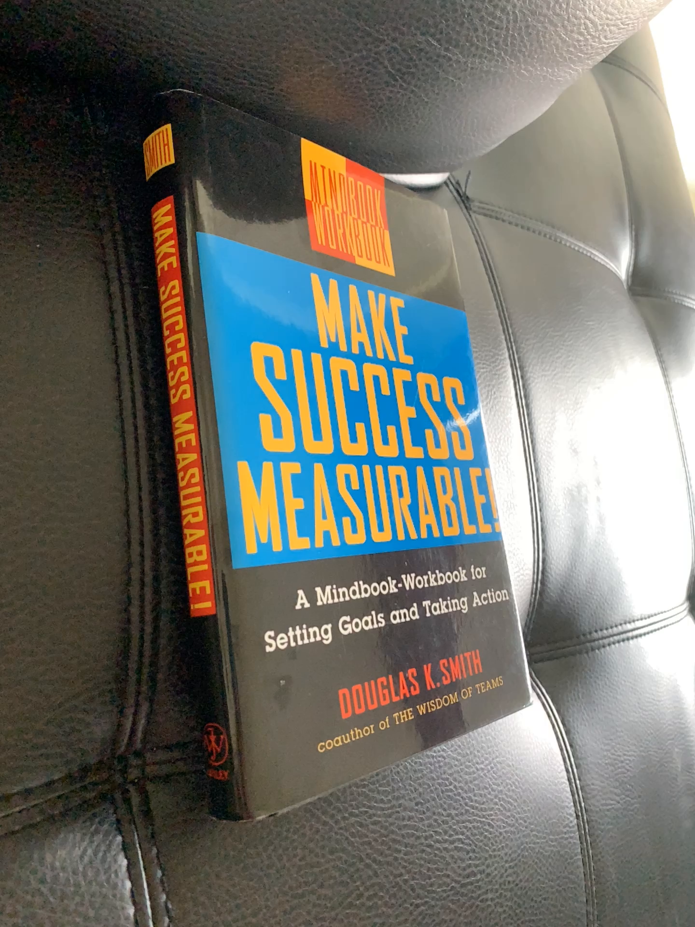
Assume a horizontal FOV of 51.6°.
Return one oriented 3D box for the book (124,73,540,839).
[{"bbox_3d":[0.002,-0.008,0.290,0.165,0.030,0.240,2,77,-46],"label":"book"}]
